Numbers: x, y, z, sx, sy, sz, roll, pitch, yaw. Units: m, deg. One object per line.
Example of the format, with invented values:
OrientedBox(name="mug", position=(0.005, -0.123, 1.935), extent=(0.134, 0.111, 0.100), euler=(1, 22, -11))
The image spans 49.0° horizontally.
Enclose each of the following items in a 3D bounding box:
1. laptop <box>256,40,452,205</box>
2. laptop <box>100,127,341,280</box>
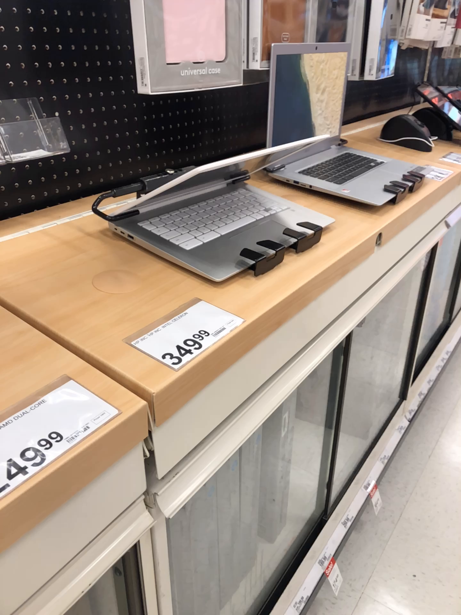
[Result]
OrientedBox(name="laptop", position=(0.278, -0.427, 1.110), extent=(0.273, 0.244, 0.390), euler=(20, 33, 27))
OrientedBox(name="laptop", position=(0.001, -0.186, 0.801), extent=(0.215, 0.100, 0.331), euler=(27, 36, 28))
